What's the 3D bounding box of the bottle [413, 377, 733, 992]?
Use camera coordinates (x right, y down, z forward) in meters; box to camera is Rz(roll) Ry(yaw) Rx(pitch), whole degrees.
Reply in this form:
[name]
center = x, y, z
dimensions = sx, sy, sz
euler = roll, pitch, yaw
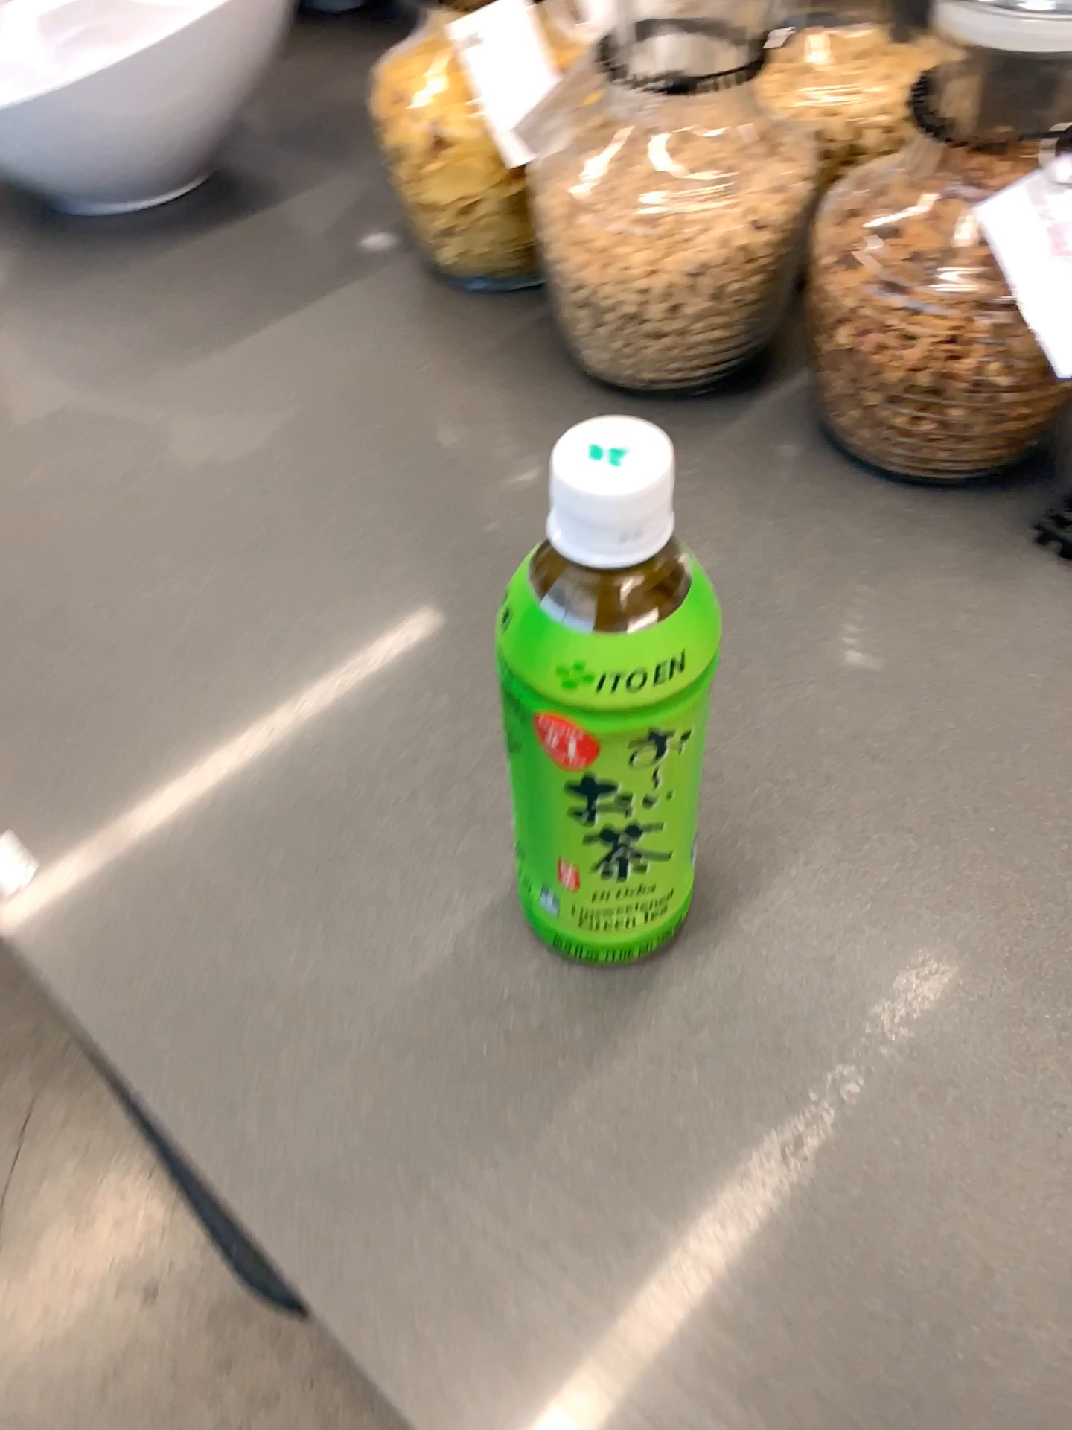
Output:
[bottle]
center = 0.010, 0.004, 0.348
dimensions = 0.070, 0.199, 0.070
euler = -2, 49, 2
